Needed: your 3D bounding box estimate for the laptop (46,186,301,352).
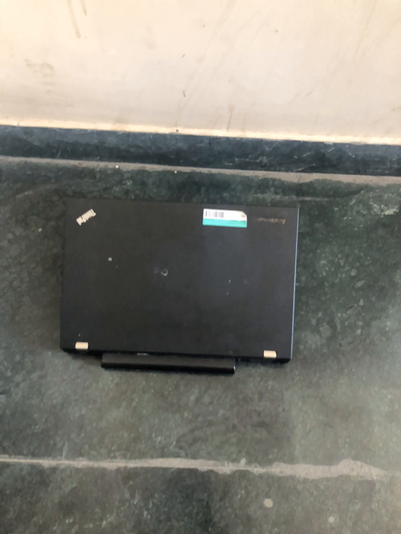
[{"bbox_3d":[-0.031,0.002,0.699,0.349,0.094,0.228,3,63,-1],"label":"laptop"}]
